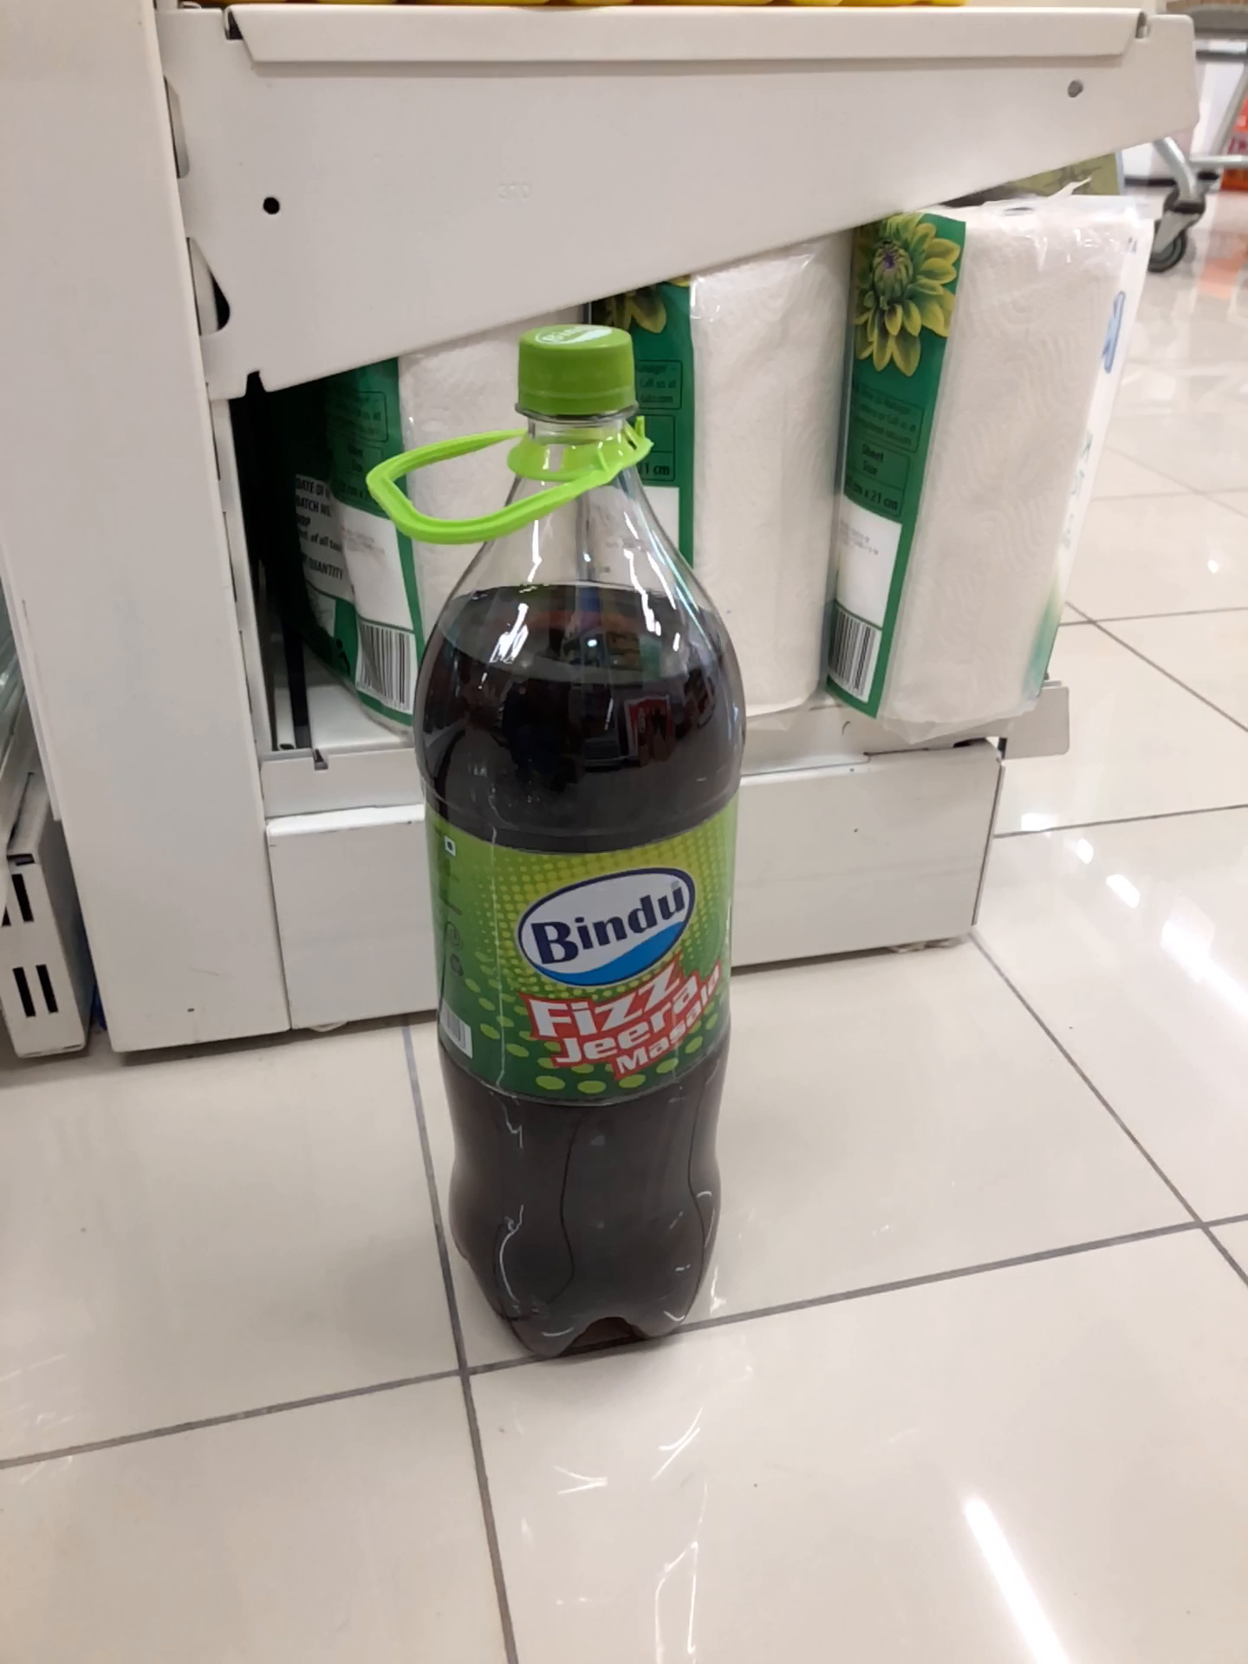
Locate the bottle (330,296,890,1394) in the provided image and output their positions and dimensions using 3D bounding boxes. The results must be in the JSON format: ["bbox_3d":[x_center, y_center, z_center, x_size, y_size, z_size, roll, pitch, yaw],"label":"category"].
[{"bbox_3d":[-0.010,0.011,0.405,0.110,0.298,0.101,1,30,0],"label":"bottle"}]
